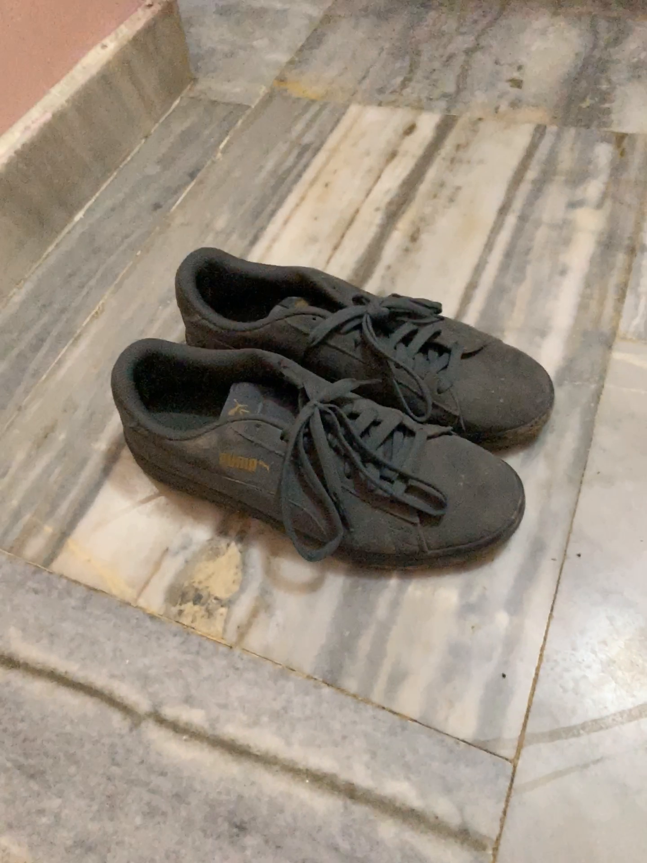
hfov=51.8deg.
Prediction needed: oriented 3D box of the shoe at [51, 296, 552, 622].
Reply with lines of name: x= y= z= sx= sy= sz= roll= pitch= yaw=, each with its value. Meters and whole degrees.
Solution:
shoe: x=-0.015 y=0.011 z=0.448 sx=0.291 sy=0.100 sz=0.110 roll=16 pitch=60 yaw=19

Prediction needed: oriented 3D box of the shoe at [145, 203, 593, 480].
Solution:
shoe: x=0.031 y=-0.075 z=0.502 sx=0.291 sy=0.100 sz=0.110 roll=16 pitch=60 yaw=19
